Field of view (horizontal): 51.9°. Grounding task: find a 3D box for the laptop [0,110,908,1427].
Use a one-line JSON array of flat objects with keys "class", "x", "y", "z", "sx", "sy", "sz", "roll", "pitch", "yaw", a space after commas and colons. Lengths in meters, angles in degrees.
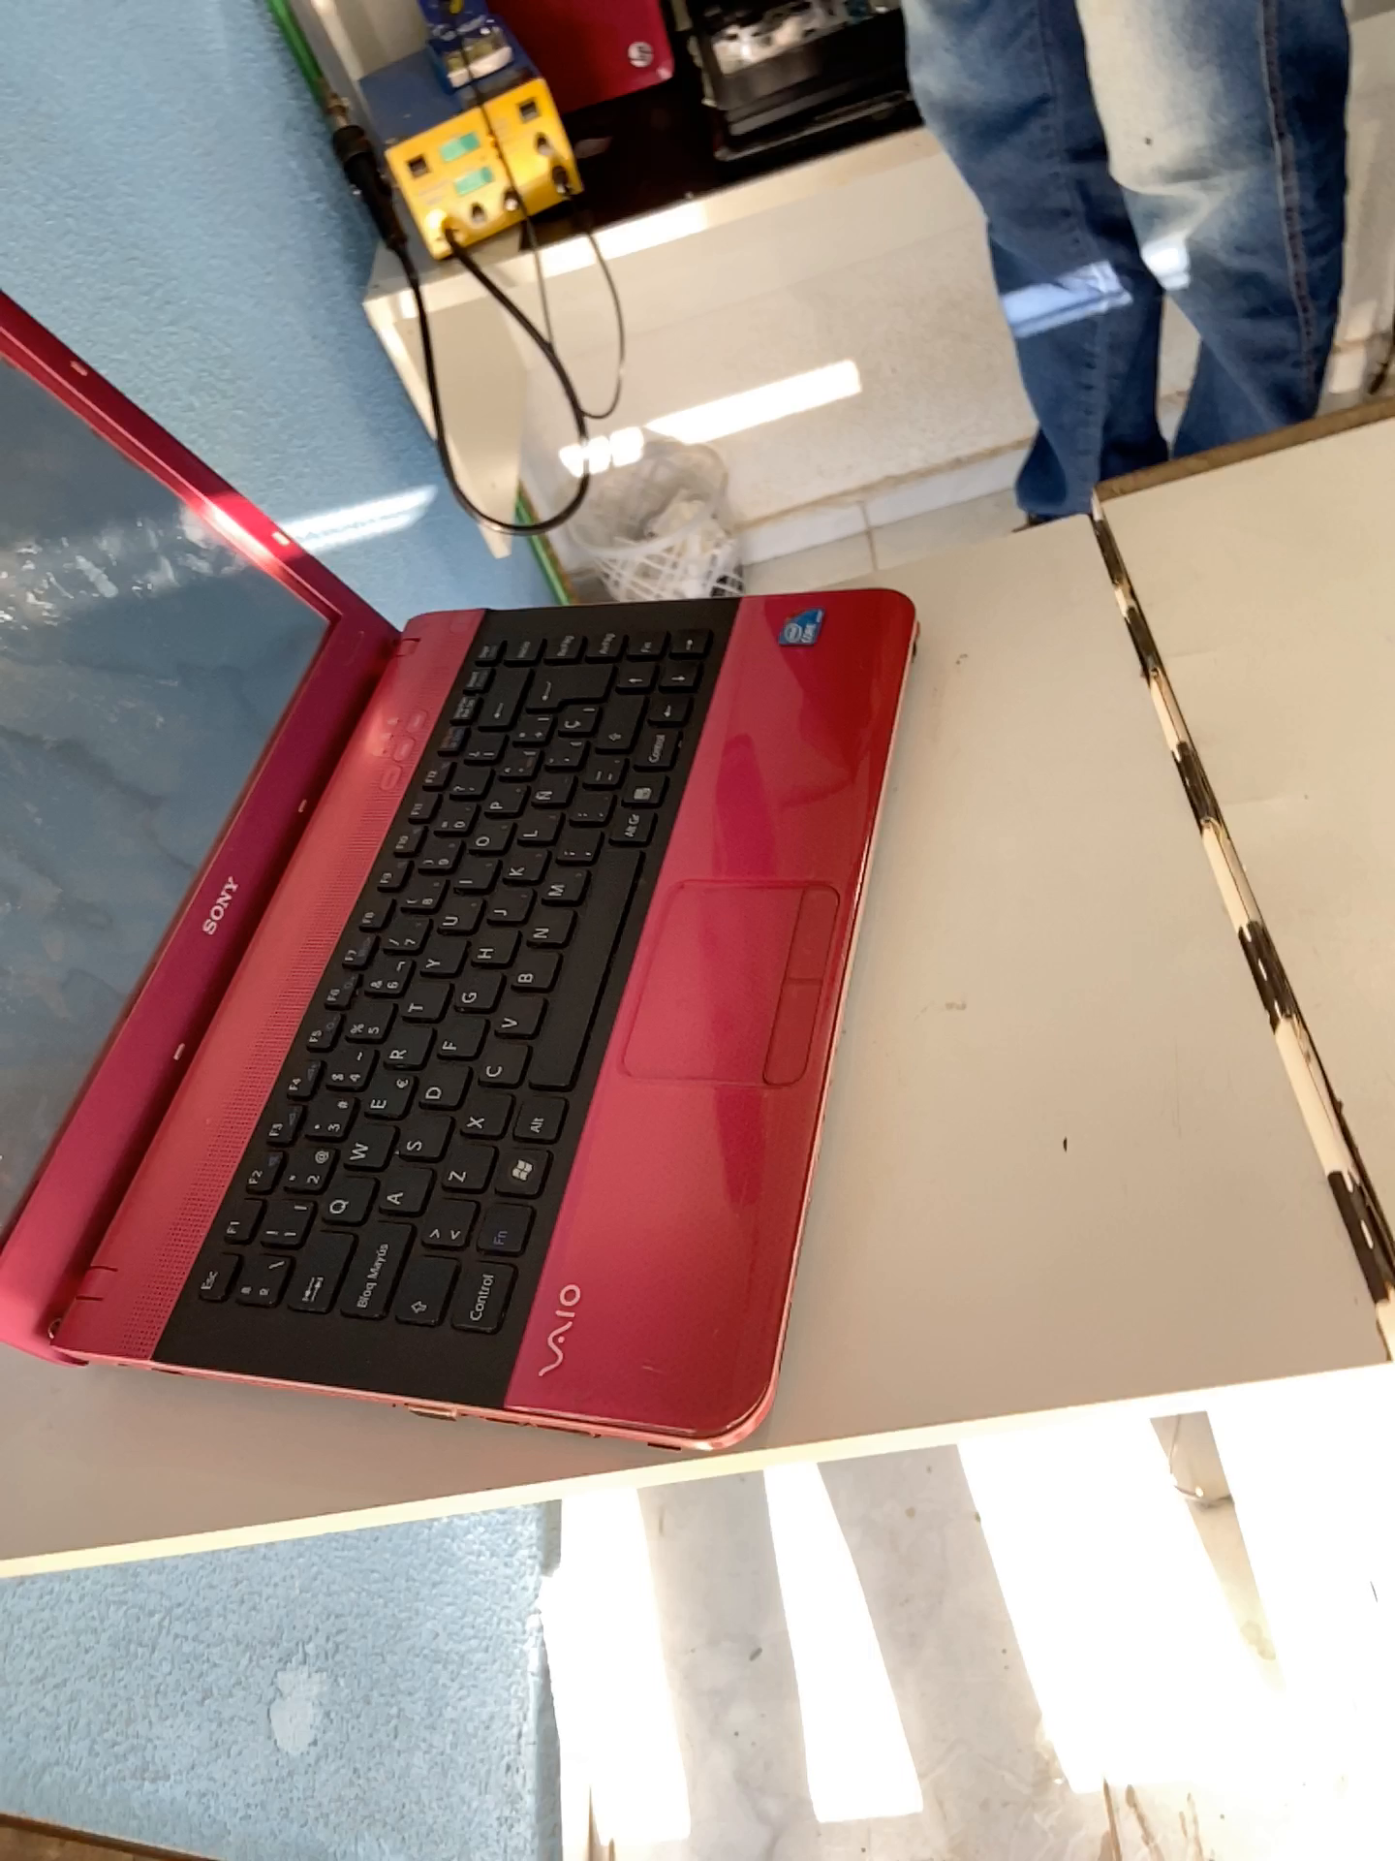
[{"class": "laptop", "x": -0.143, "y": -0.061, "z": 0.466, "sx": 0.339, "sy": 0.188, "sz": 0.332, "roll": 1, "pitch": 53, "yaw": 21}]
